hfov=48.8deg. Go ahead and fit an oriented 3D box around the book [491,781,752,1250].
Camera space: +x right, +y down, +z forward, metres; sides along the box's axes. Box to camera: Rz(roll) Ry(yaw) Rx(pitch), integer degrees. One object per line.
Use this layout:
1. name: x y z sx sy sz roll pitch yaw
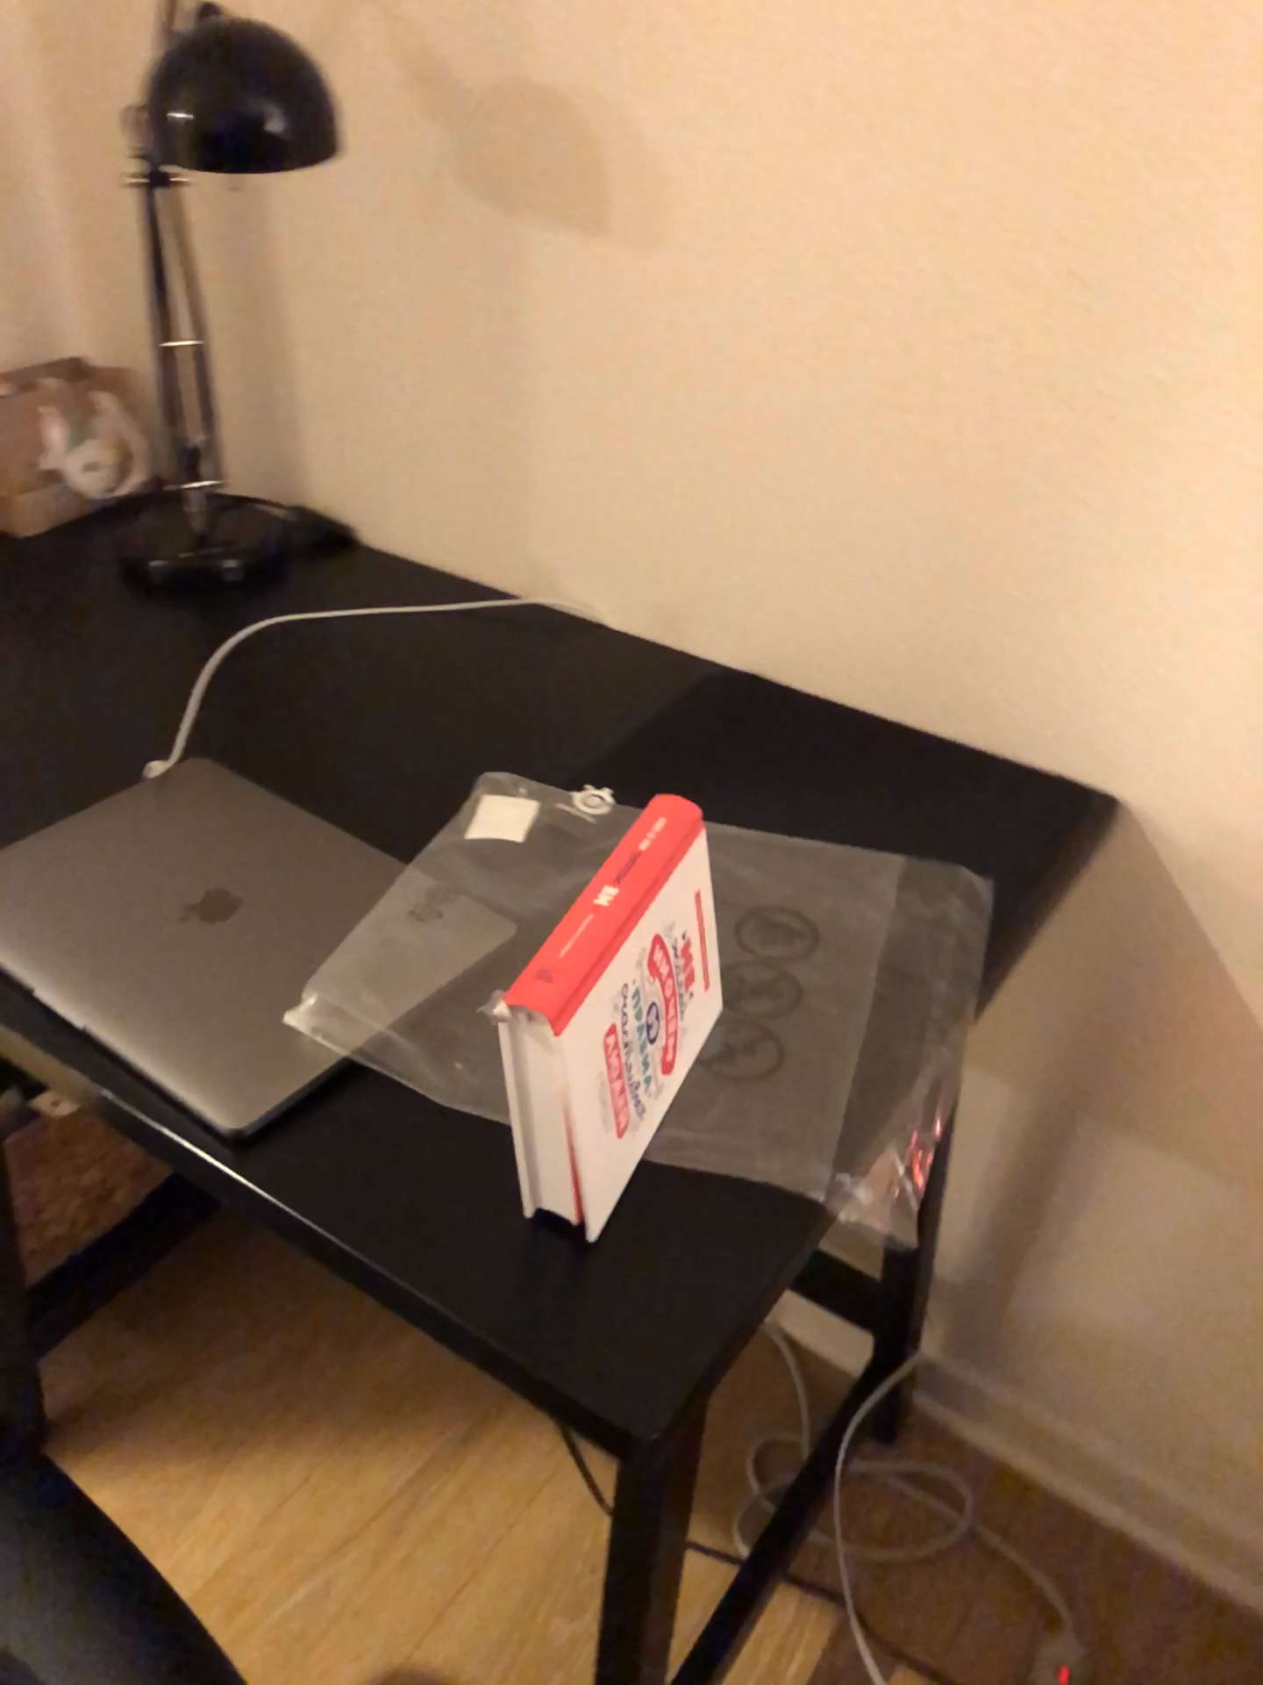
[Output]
1. book: -0.002 0.079 0.699 0.050 0.129 0.201 16 38 16
